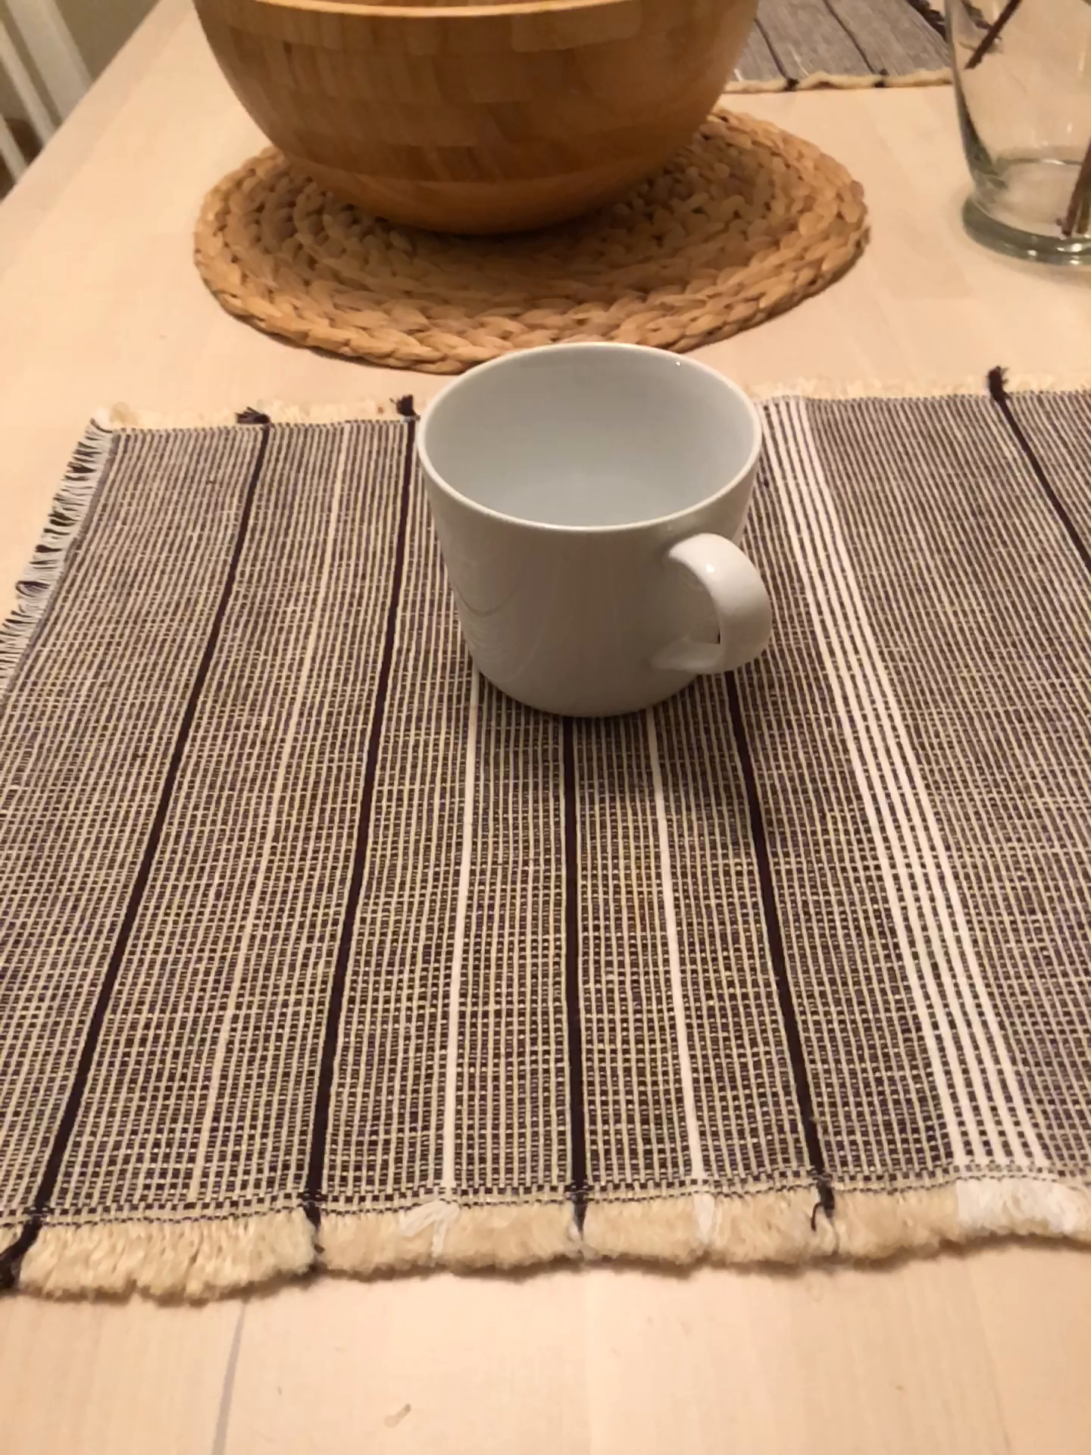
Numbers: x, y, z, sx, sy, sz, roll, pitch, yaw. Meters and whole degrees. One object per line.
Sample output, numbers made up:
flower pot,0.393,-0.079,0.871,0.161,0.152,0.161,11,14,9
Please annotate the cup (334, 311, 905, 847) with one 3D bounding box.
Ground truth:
cup,0.016,-0.053,0.363,0.100,0.070,0.141,-23,48,-20
